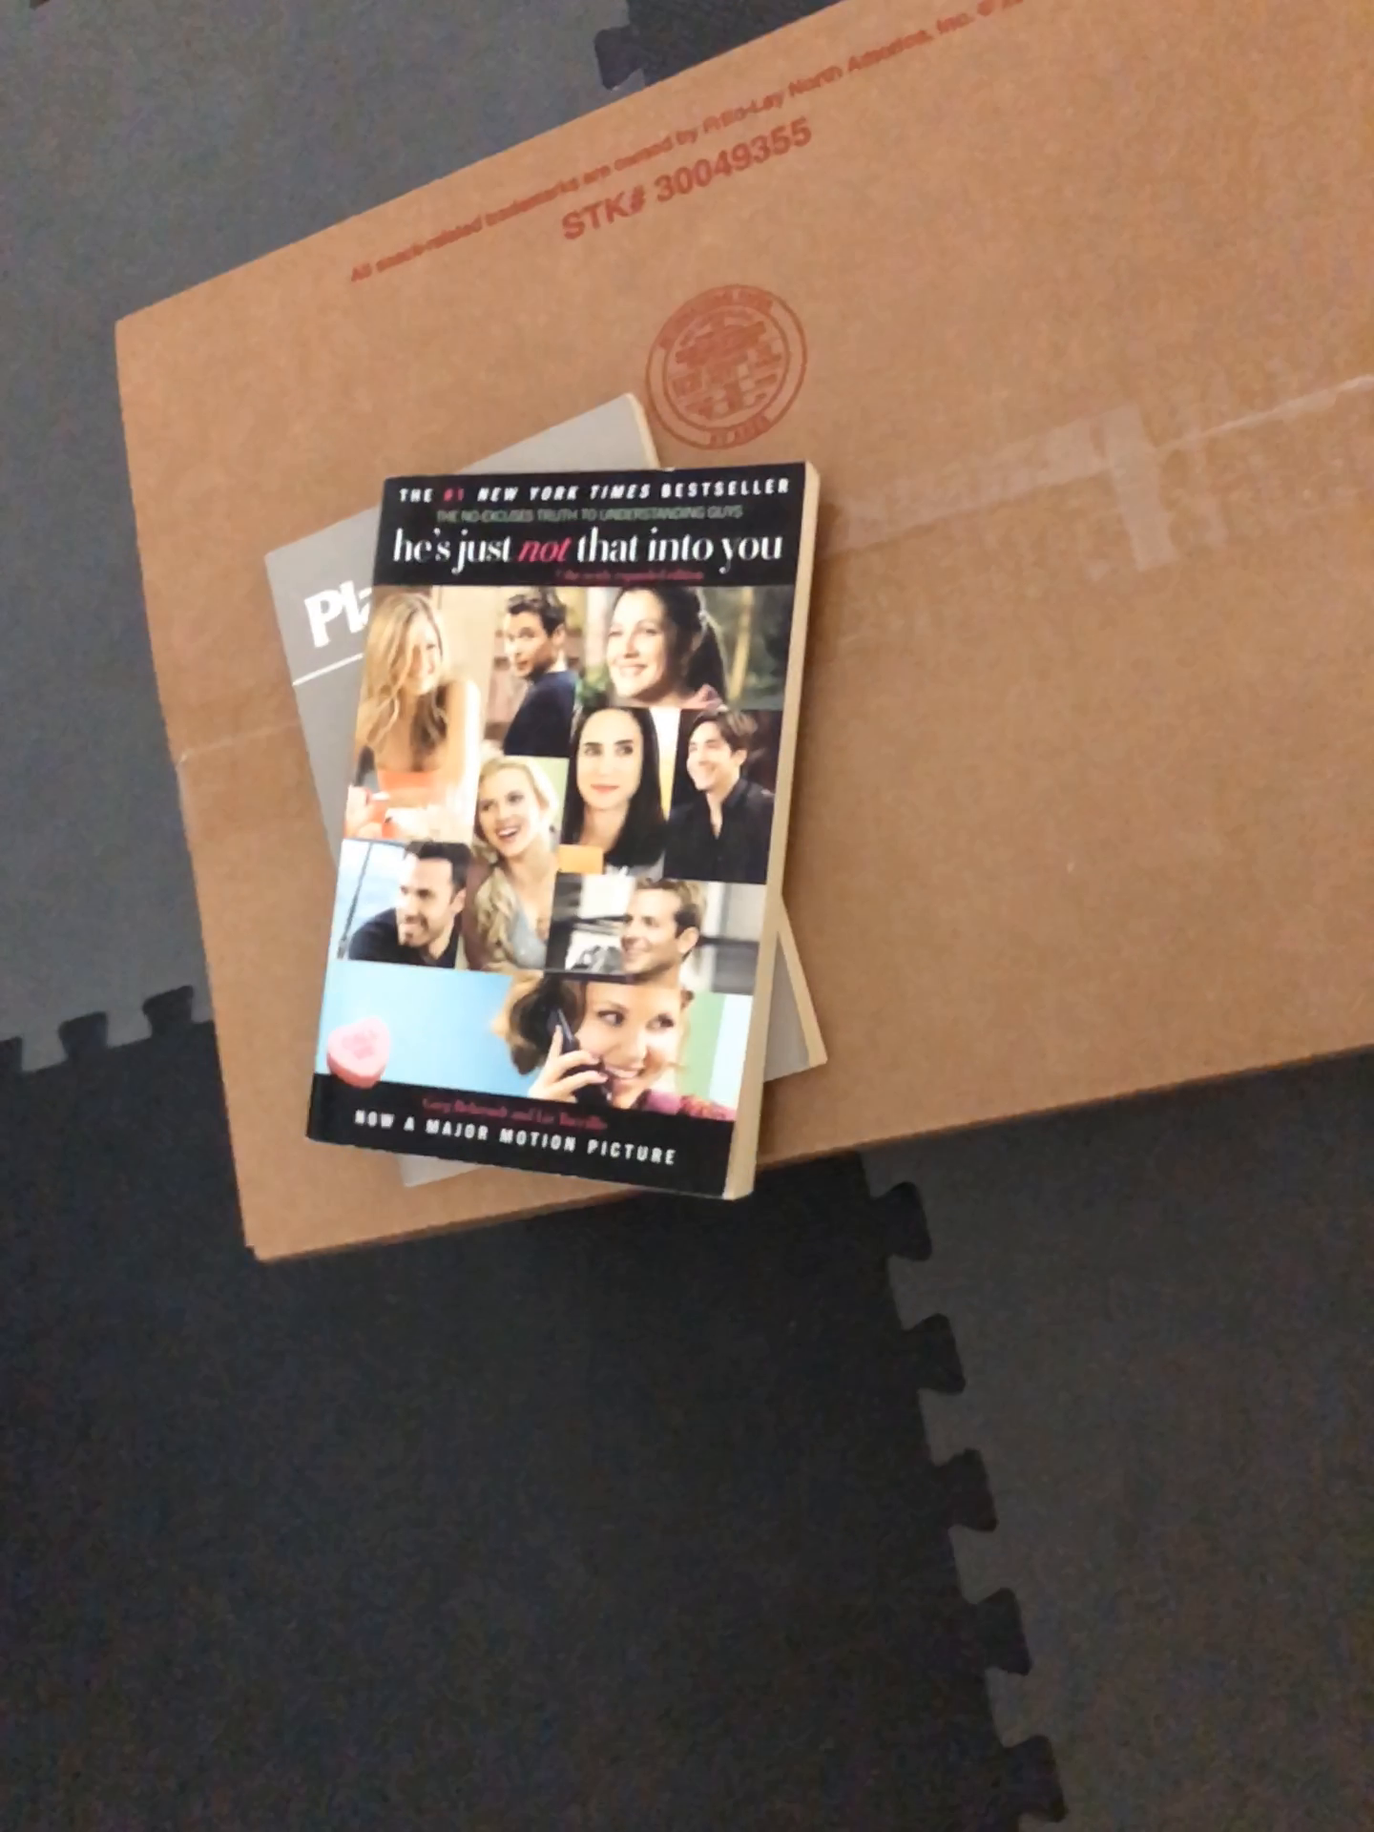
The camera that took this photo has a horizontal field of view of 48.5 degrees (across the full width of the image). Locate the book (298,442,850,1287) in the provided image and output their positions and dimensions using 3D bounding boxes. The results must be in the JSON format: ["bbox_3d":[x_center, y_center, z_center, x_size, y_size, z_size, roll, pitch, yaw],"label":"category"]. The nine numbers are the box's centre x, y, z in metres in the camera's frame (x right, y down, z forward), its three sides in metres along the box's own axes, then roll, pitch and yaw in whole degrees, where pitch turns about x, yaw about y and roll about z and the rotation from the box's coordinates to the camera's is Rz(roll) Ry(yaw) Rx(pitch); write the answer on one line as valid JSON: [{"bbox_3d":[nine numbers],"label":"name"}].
[{"bbox_3d":[-0.035,-0.020,0.443,0.150,0.010,0.230,3,85,20],"label":"book"}]
